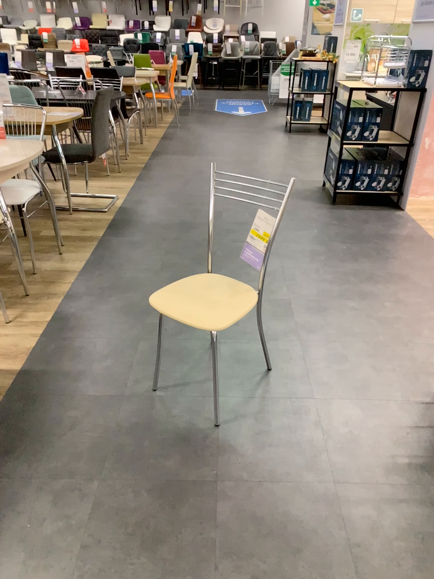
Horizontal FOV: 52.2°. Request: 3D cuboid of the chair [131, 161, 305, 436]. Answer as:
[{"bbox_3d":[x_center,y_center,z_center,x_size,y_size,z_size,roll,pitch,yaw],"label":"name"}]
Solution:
[{"bbox_3d":[0.009,0.020,1.788,0.411,0.905,0.482,20,35,30],"label":"chair"}]
